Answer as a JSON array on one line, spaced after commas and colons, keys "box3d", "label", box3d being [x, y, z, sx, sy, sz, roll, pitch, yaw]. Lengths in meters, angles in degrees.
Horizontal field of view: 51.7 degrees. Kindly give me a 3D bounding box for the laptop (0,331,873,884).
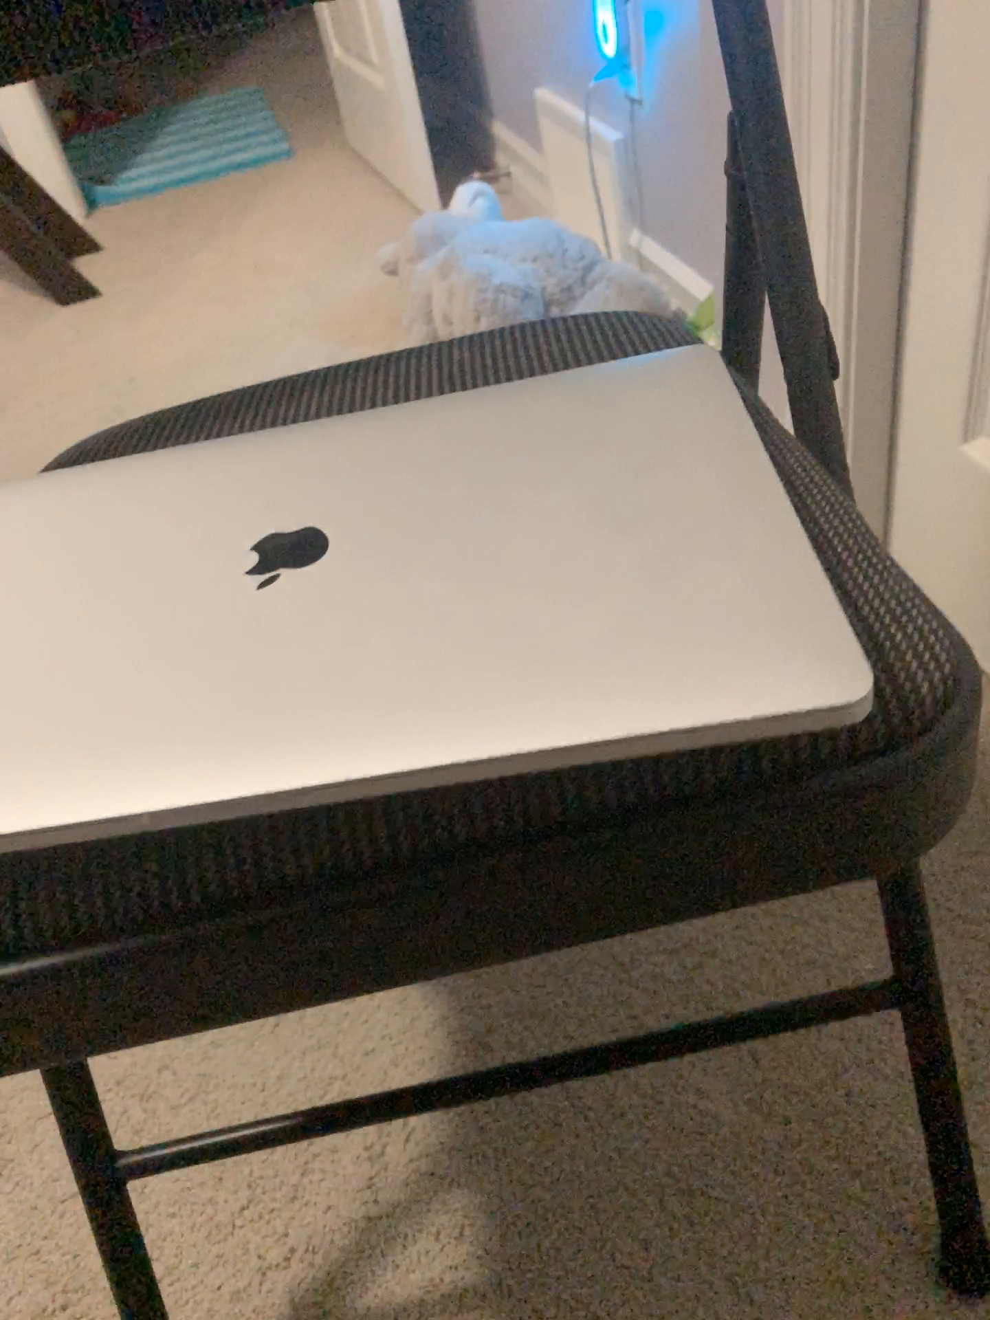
[{"box3d": [-0.073, -0.036, 0.357, 0.332, 0.001, 0.225, -10, 40, 7], "label": "laptop"}]
